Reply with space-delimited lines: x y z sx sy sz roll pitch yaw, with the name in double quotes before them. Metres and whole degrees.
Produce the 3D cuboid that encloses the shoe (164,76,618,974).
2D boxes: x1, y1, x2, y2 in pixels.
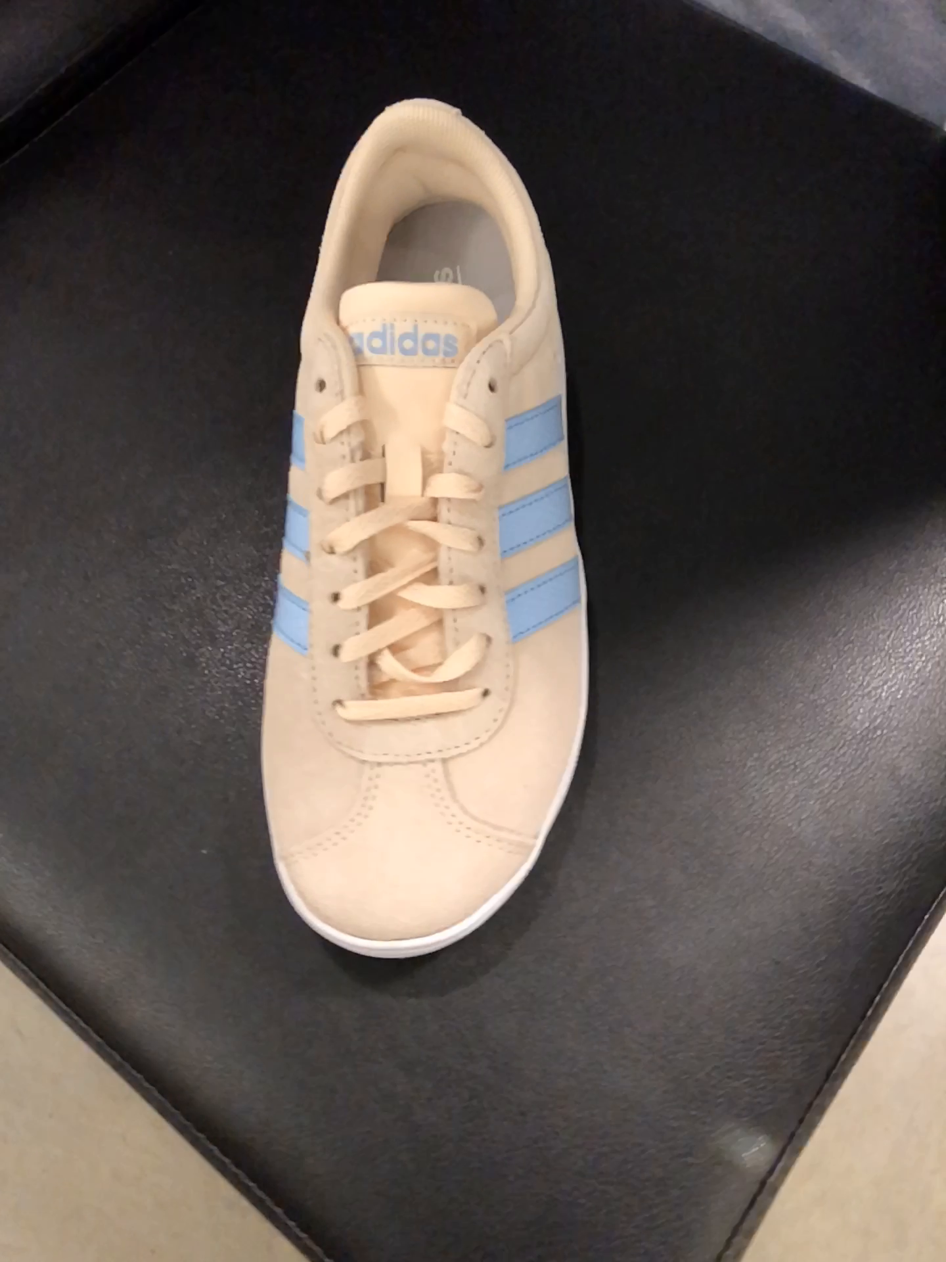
"shoe" -0.012 -0.037 0.324 0.100 0.090 0.260 2 67 1
